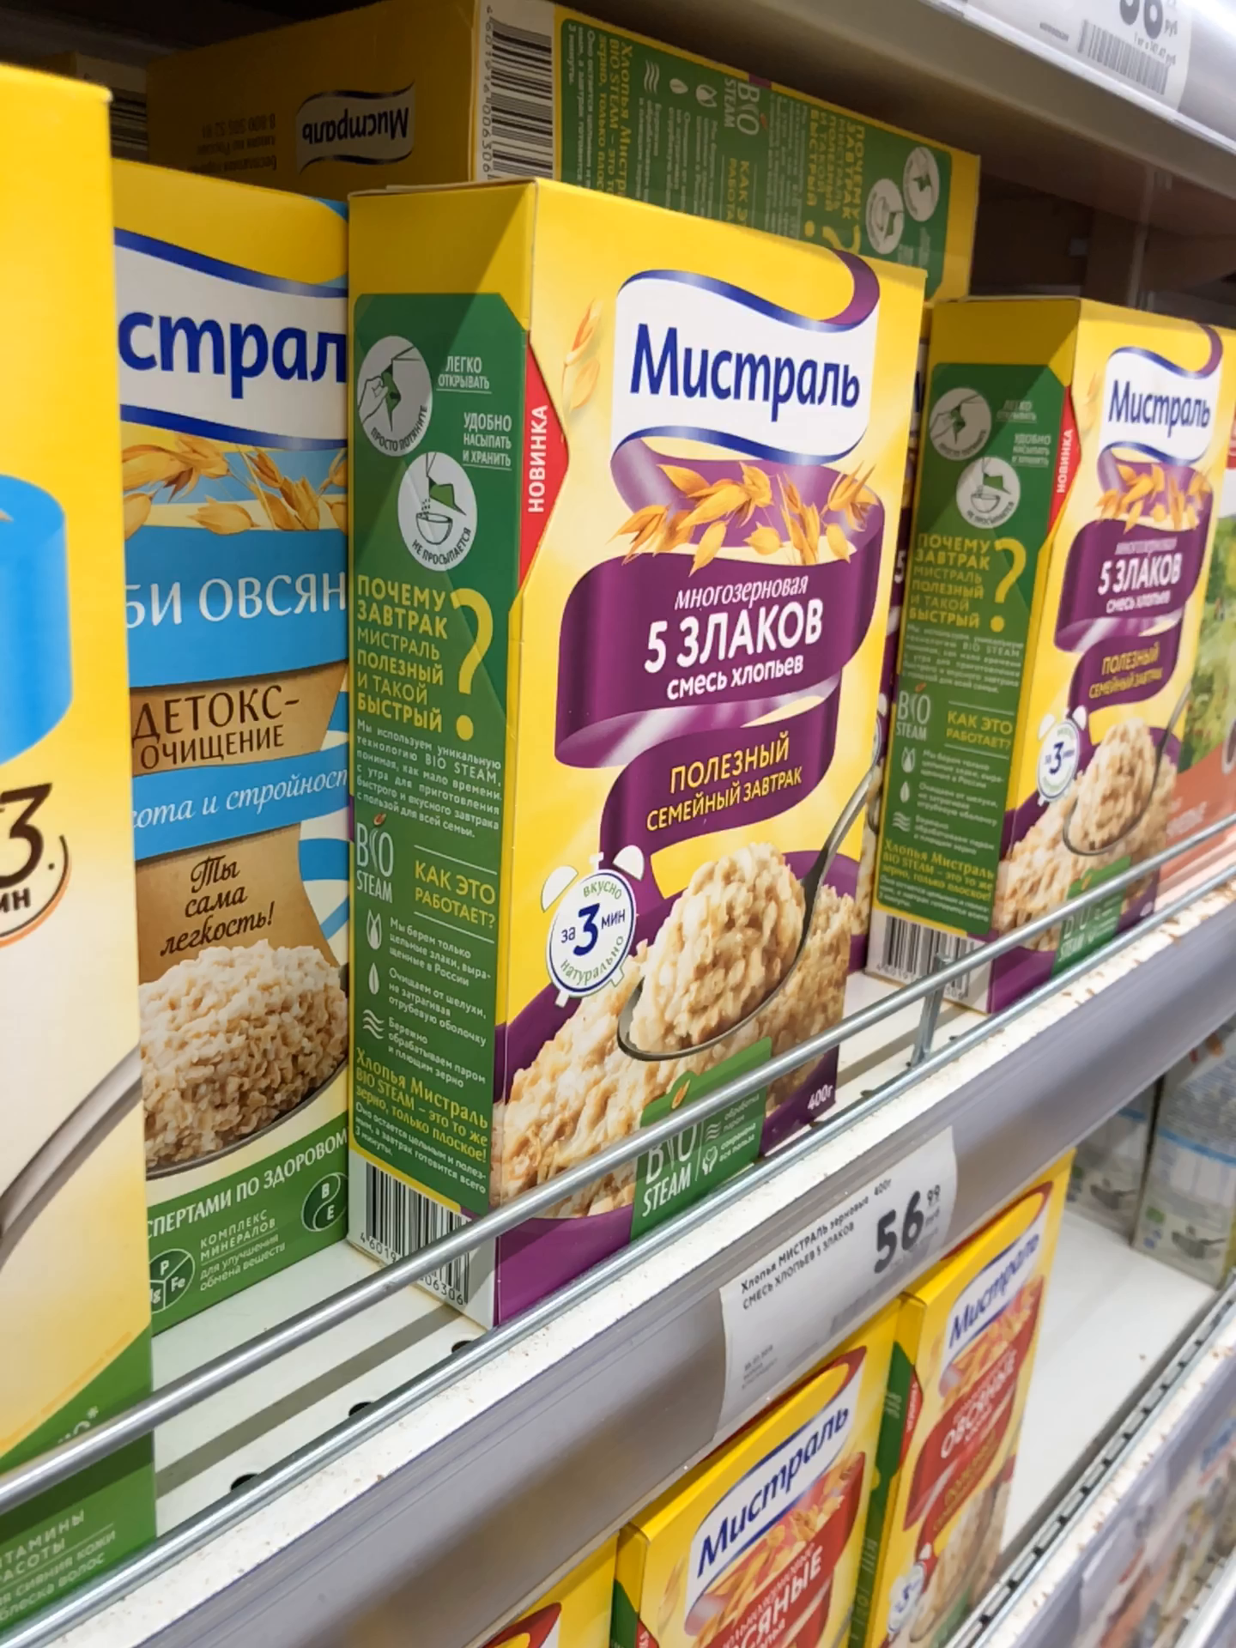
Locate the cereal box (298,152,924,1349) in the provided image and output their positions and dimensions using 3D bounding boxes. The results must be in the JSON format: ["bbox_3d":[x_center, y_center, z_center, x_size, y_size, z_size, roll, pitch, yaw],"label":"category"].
[{"bbox_3d":[0.001,-0.018,0.297,0.050,0.209,0.130,16,21,37],"label":"cereal box"}]
